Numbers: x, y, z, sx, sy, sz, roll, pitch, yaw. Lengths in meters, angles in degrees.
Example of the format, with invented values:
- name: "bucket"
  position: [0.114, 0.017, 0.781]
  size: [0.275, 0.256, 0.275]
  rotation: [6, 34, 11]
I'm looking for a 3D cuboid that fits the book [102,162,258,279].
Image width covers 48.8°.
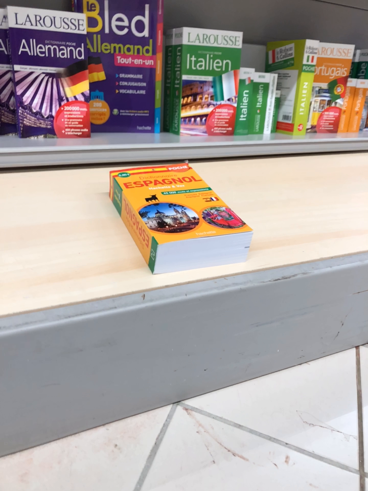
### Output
- name: "book"
  position: [-0.017, -0.042, 0.477]
  size: [0.117, 0.040, 0.191]
  rotation: [-8, 34, -22]
